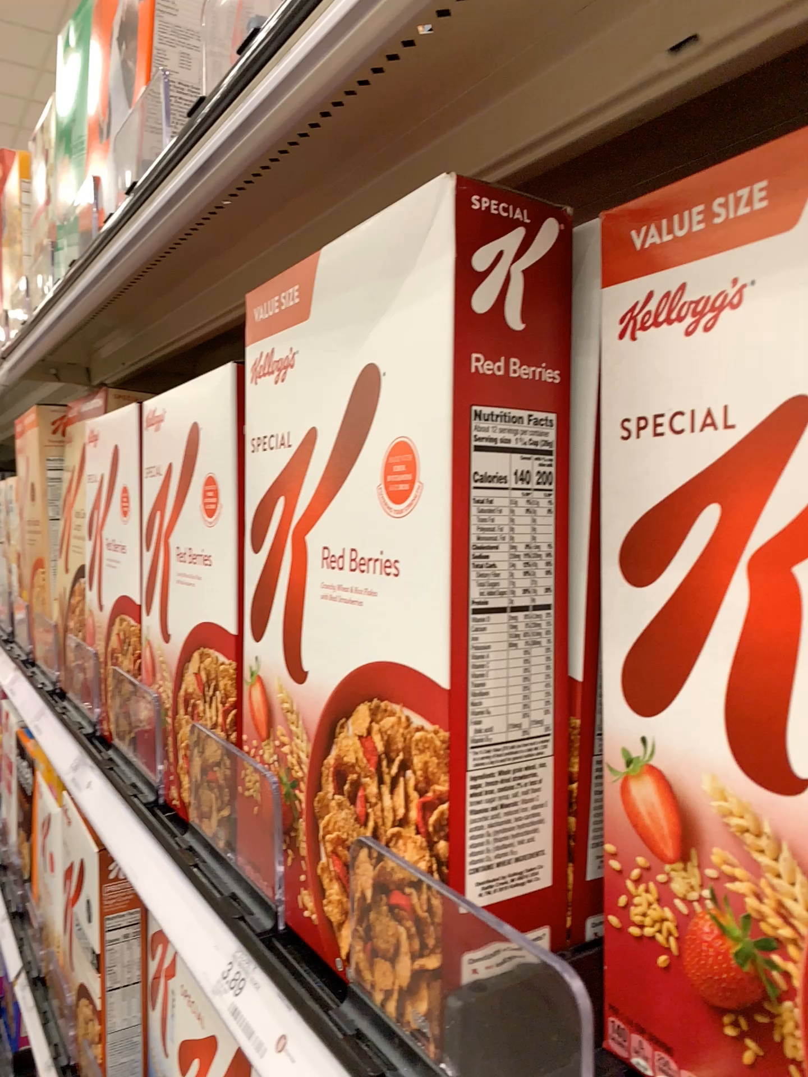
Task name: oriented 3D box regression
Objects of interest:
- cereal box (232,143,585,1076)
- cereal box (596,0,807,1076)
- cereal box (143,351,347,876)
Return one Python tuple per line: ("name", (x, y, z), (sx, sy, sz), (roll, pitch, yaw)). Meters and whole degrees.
("cereal box", (-0.013, 0.025, 0.379), (0.060, 0.320, 0.200), (-1, 2, -33))
("cereal box", (0.154, 0.044, 0.247), (0.060, 0.330, 0.200), (-1, 2, -34))
("cereal box", (-0.114, 0.038, 0.558), (0.060, 0.290, 0.200), (-1, 2, -34))
